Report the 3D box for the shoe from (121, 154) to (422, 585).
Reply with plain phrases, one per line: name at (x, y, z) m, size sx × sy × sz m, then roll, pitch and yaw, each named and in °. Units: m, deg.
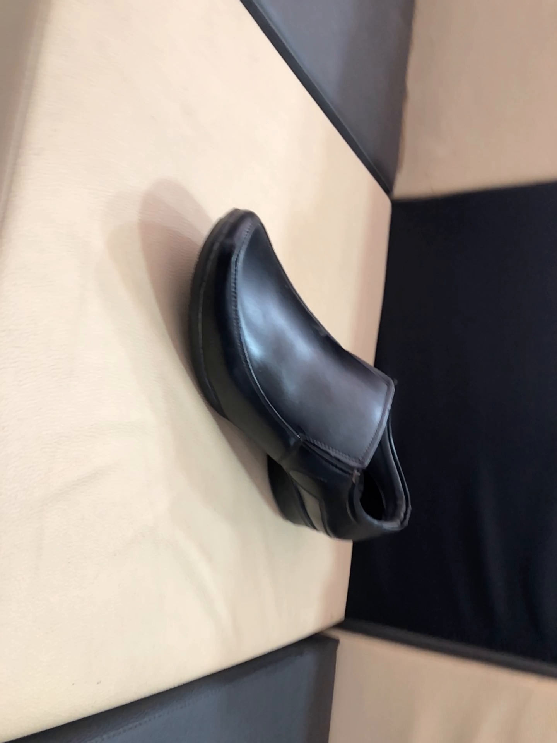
shoe at (0.020, 0.019, 0.463) m, size 0.100 × 0.099 × 0.322 m, roll -60°, pitch 141°, yaw -39°
